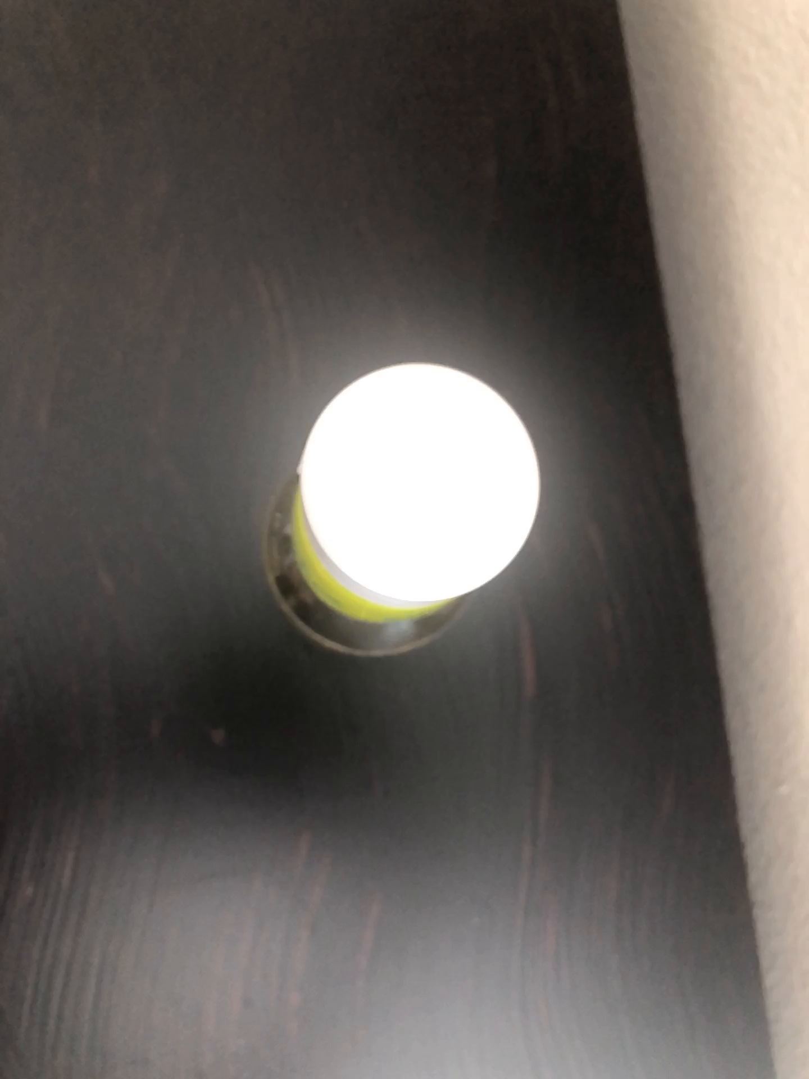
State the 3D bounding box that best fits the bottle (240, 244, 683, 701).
[{"bbox_3d":[-0.002,0.001,0.249,0.070,0.200,0.070,1,83,-8],"label":"bottle"}]
